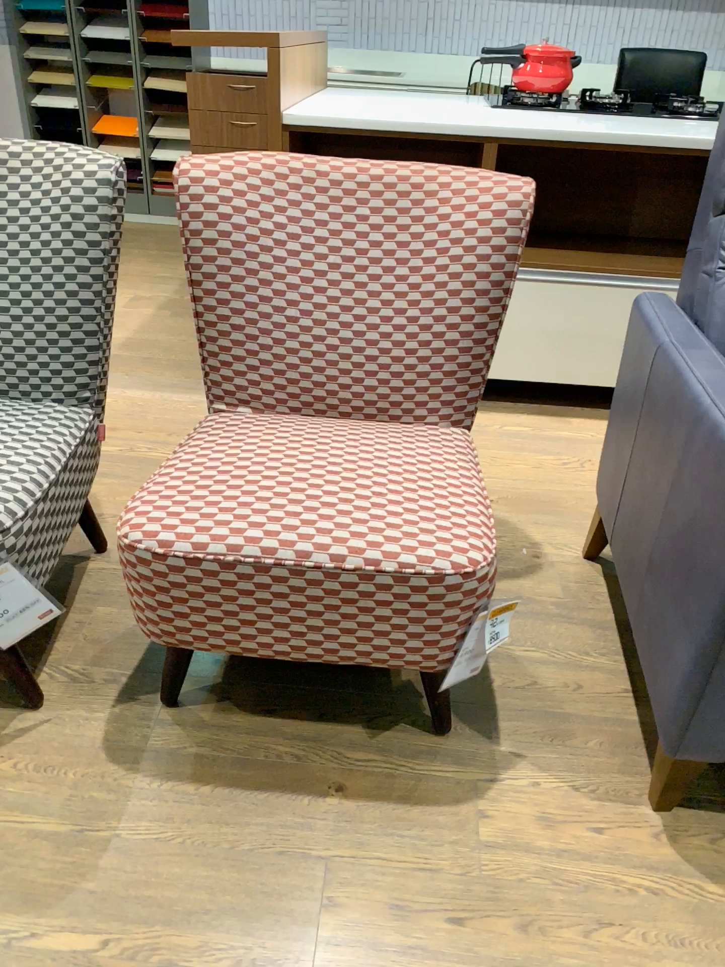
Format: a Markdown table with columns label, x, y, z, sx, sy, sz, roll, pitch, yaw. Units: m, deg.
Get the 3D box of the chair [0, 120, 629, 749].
| label | x | y | z | sx | sy | sz | roll | pitch | yaw |
| --- | --- | --- | --- | --- | --- | --- | --- | --- | --- |
| chair | -0.059 | -0.108 | 1.294 | 0.700 | 0.866 | 0.613 | 5 | 31 | 2 |
